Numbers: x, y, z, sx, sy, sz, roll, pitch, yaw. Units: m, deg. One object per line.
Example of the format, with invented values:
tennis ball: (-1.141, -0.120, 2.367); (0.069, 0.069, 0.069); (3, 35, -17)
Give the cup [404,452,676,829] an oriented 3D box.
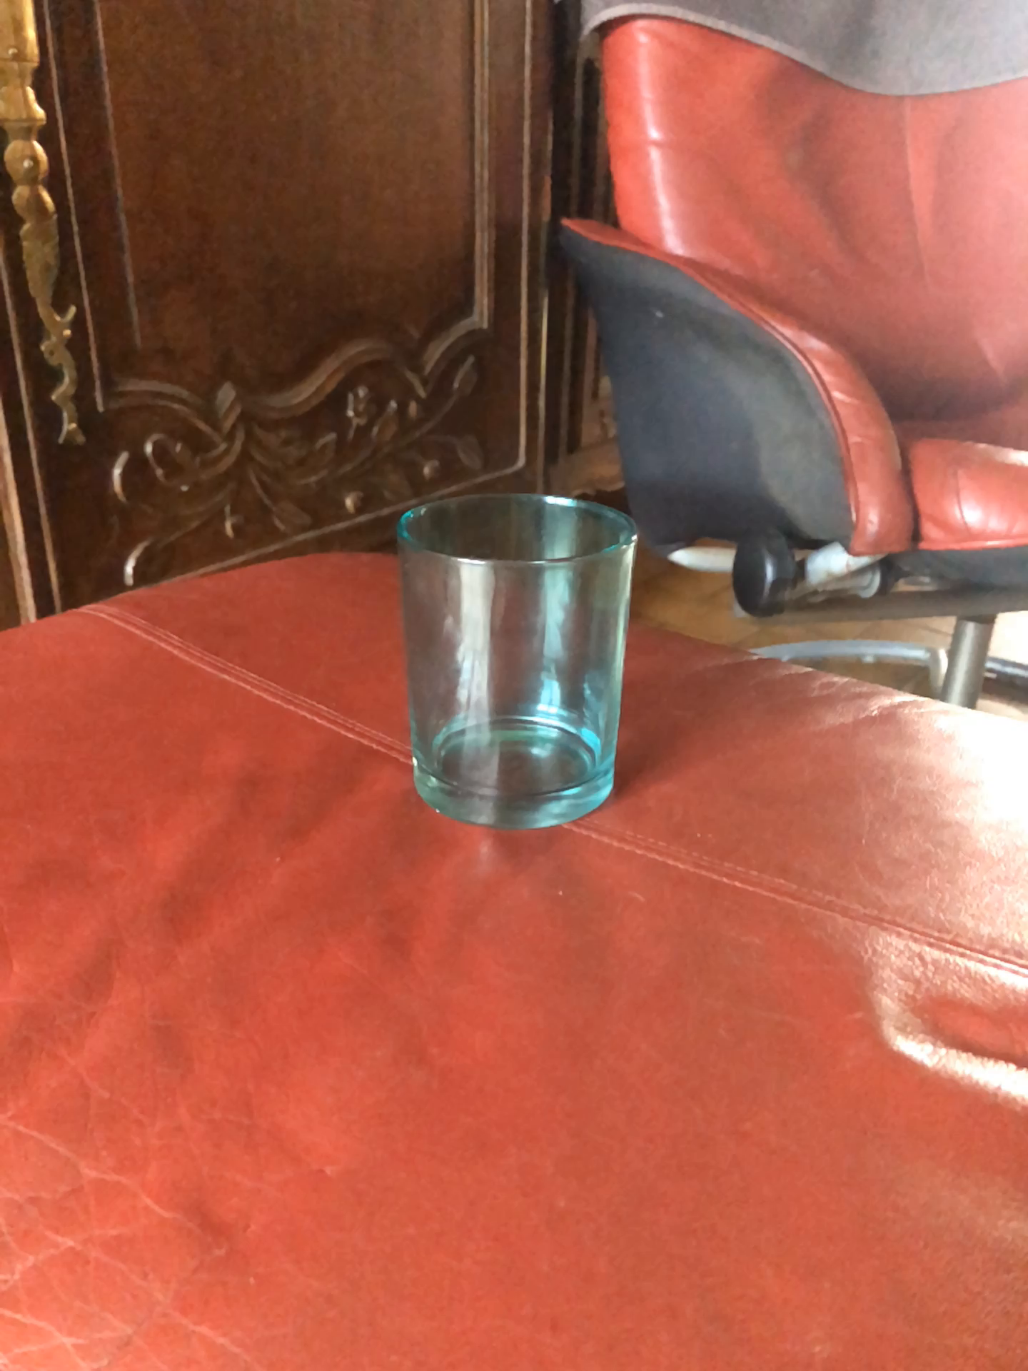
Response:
cup: (0.008, -0.016, 0.343); (0.070, 0.089, 0.070); (1, 25, -1)
